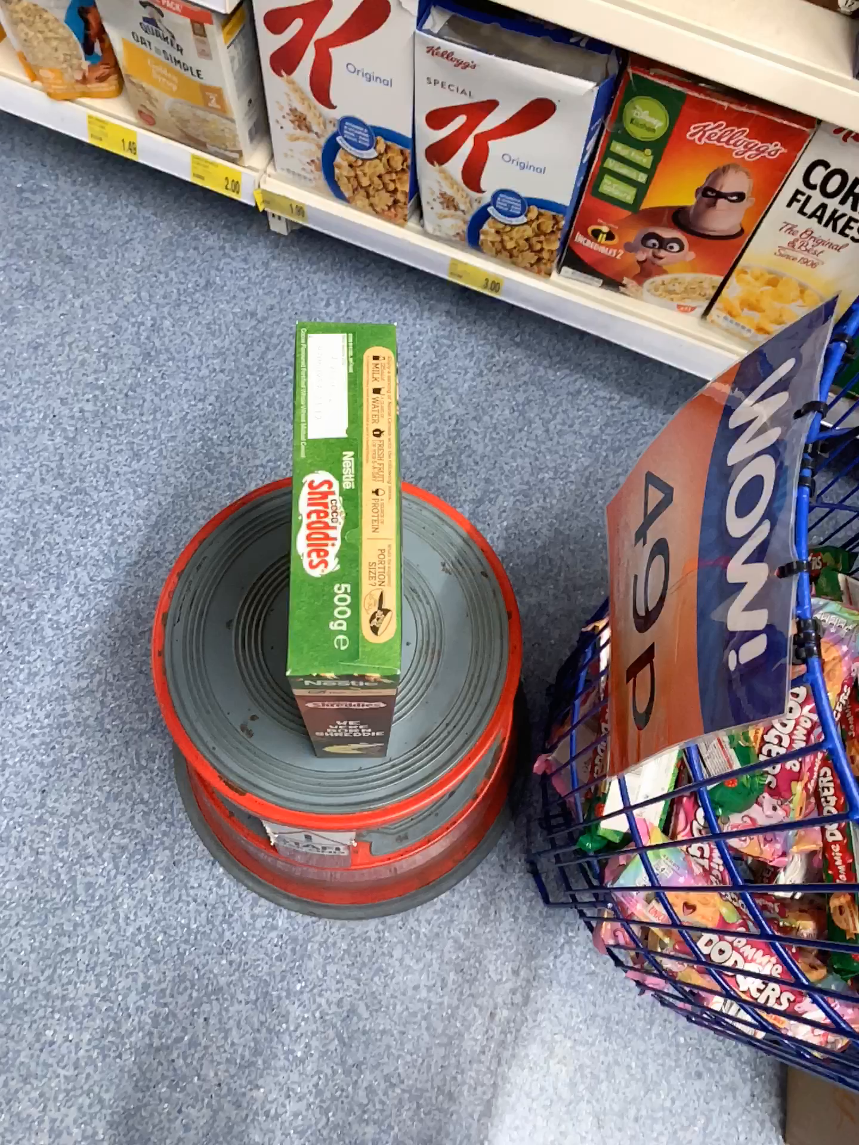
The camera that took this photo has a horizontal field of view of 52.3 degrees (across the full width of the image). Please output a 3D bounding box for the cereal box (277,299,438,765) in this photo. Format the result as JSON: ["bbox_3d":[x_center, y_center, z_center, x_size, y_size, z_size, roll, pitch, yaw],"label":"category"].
[{"bbox_3d":[-0.042,0.001,0.548,0.070,0.279,0.201,0,70,-4],"label":"cereal box"}]
